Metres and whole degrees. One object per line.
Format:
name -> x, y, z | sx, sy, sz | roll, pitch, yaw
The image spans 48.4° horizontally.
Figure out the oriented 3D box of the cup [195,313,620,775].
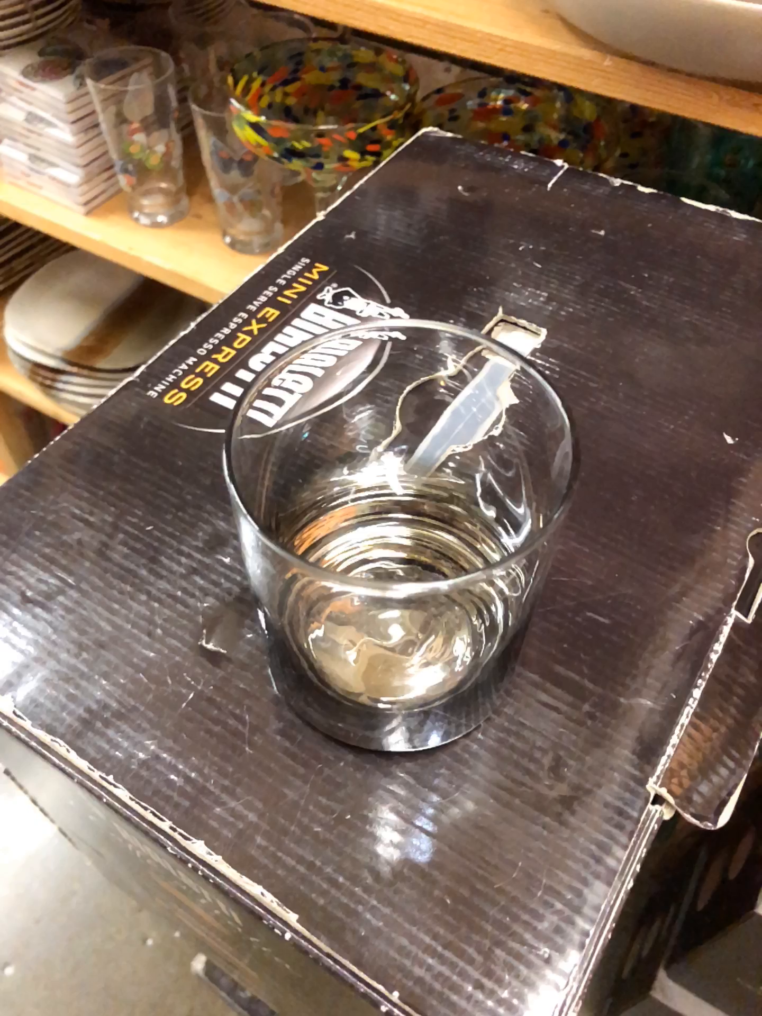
cup -> 0.004, 0.012, 0.234 | 0.085, 0.093, 0.090 | 0, 52, 0
